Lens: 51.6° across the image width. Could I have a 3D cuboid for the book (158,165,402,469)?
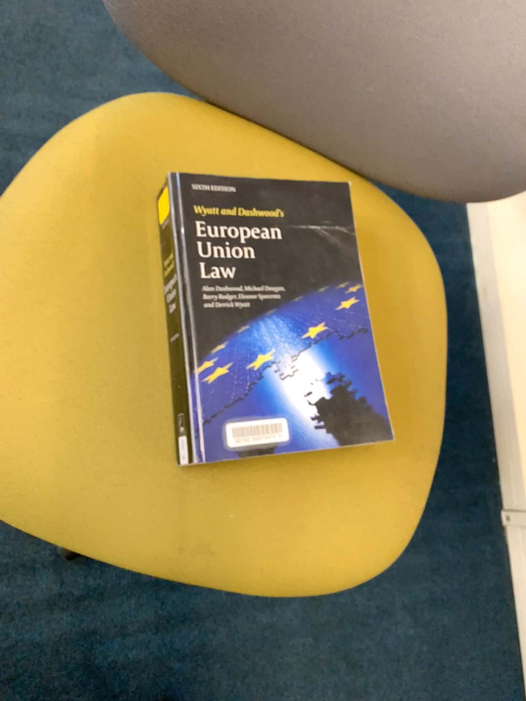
[{"bbox_3d":[0.010,-0.032,0.491,0.181,0.060,0.250,-3,78,-20],"label":"book"}]
